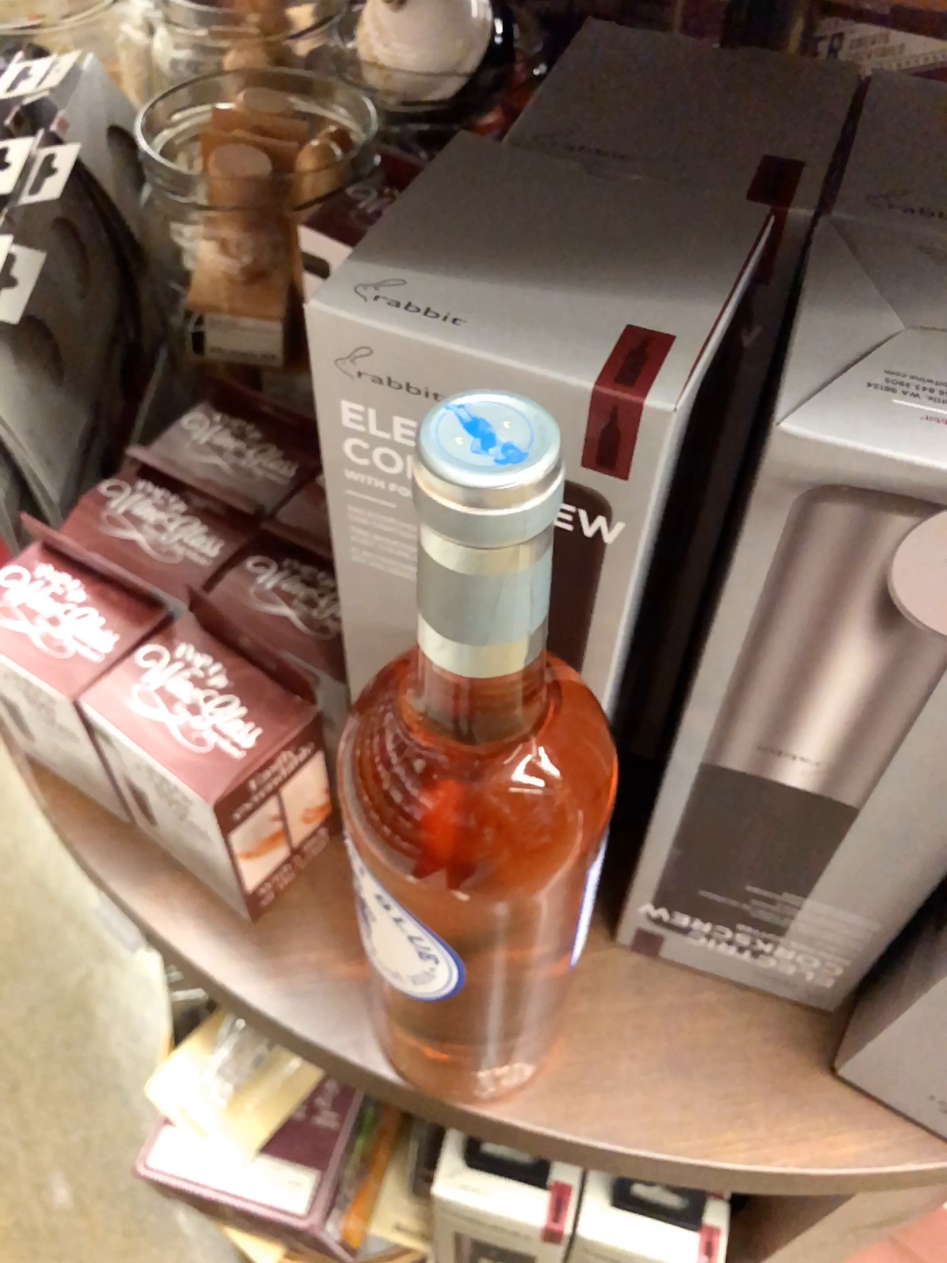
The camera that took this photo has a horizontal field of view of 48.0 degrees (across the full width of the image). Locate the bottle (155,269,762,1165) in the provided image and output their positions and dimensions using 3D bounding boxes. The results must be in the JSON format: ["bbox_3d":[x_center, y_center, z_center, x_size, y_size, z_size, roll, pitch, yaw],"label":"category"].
[{"bbox_3d":[-0.005,0.057,0.303,0.080,0.289,0.078,0,51,0],"label":"bottle"}]
